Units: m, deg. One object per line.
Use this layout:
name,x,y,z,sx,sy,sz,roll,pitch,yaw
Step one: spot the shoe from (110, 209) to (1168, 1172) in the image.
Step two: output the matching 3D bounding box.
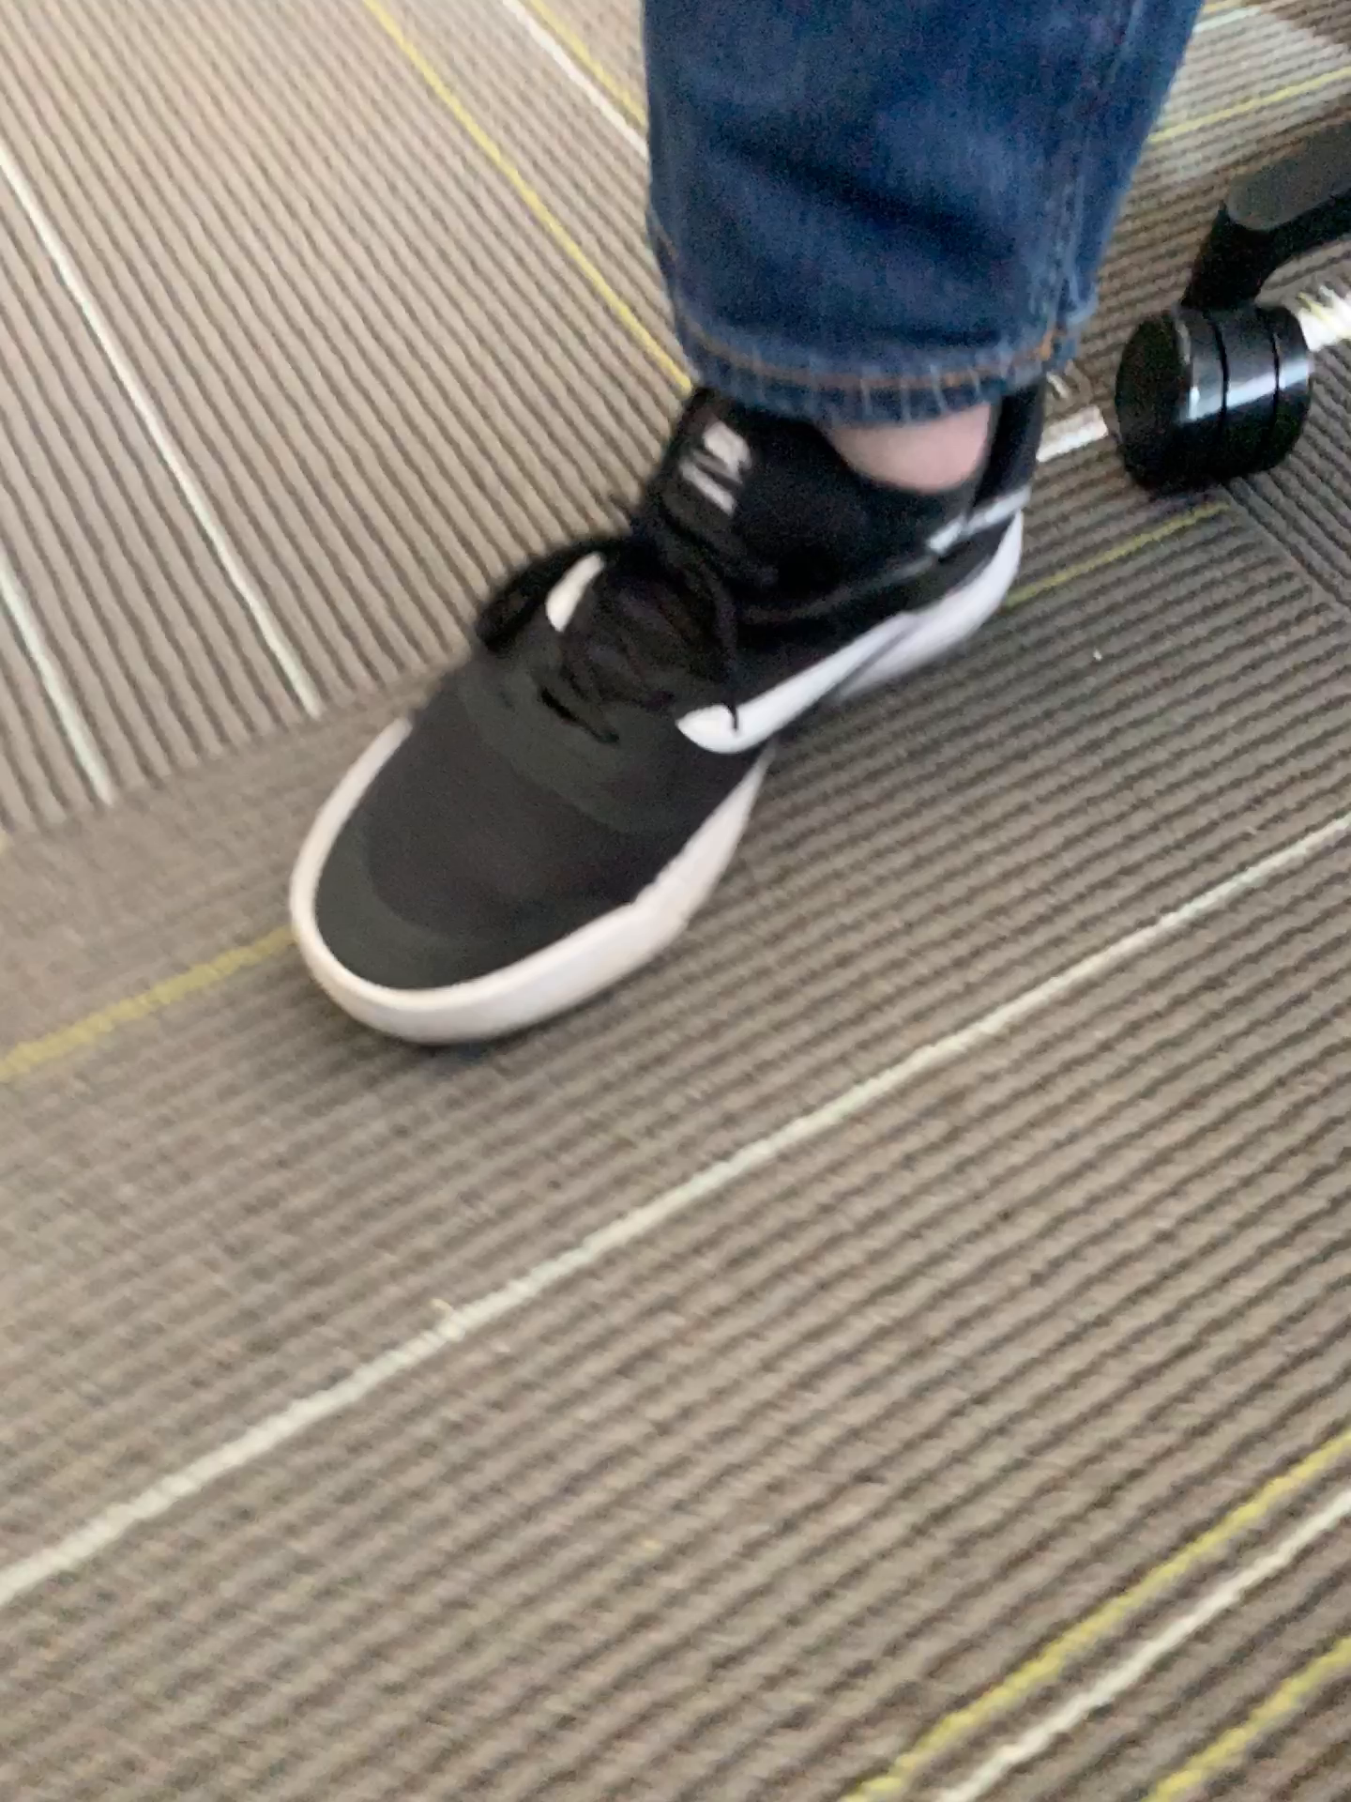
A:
shoe,0.002,-0.079,0.458,0.120,0.120,0.320,42,68,18
